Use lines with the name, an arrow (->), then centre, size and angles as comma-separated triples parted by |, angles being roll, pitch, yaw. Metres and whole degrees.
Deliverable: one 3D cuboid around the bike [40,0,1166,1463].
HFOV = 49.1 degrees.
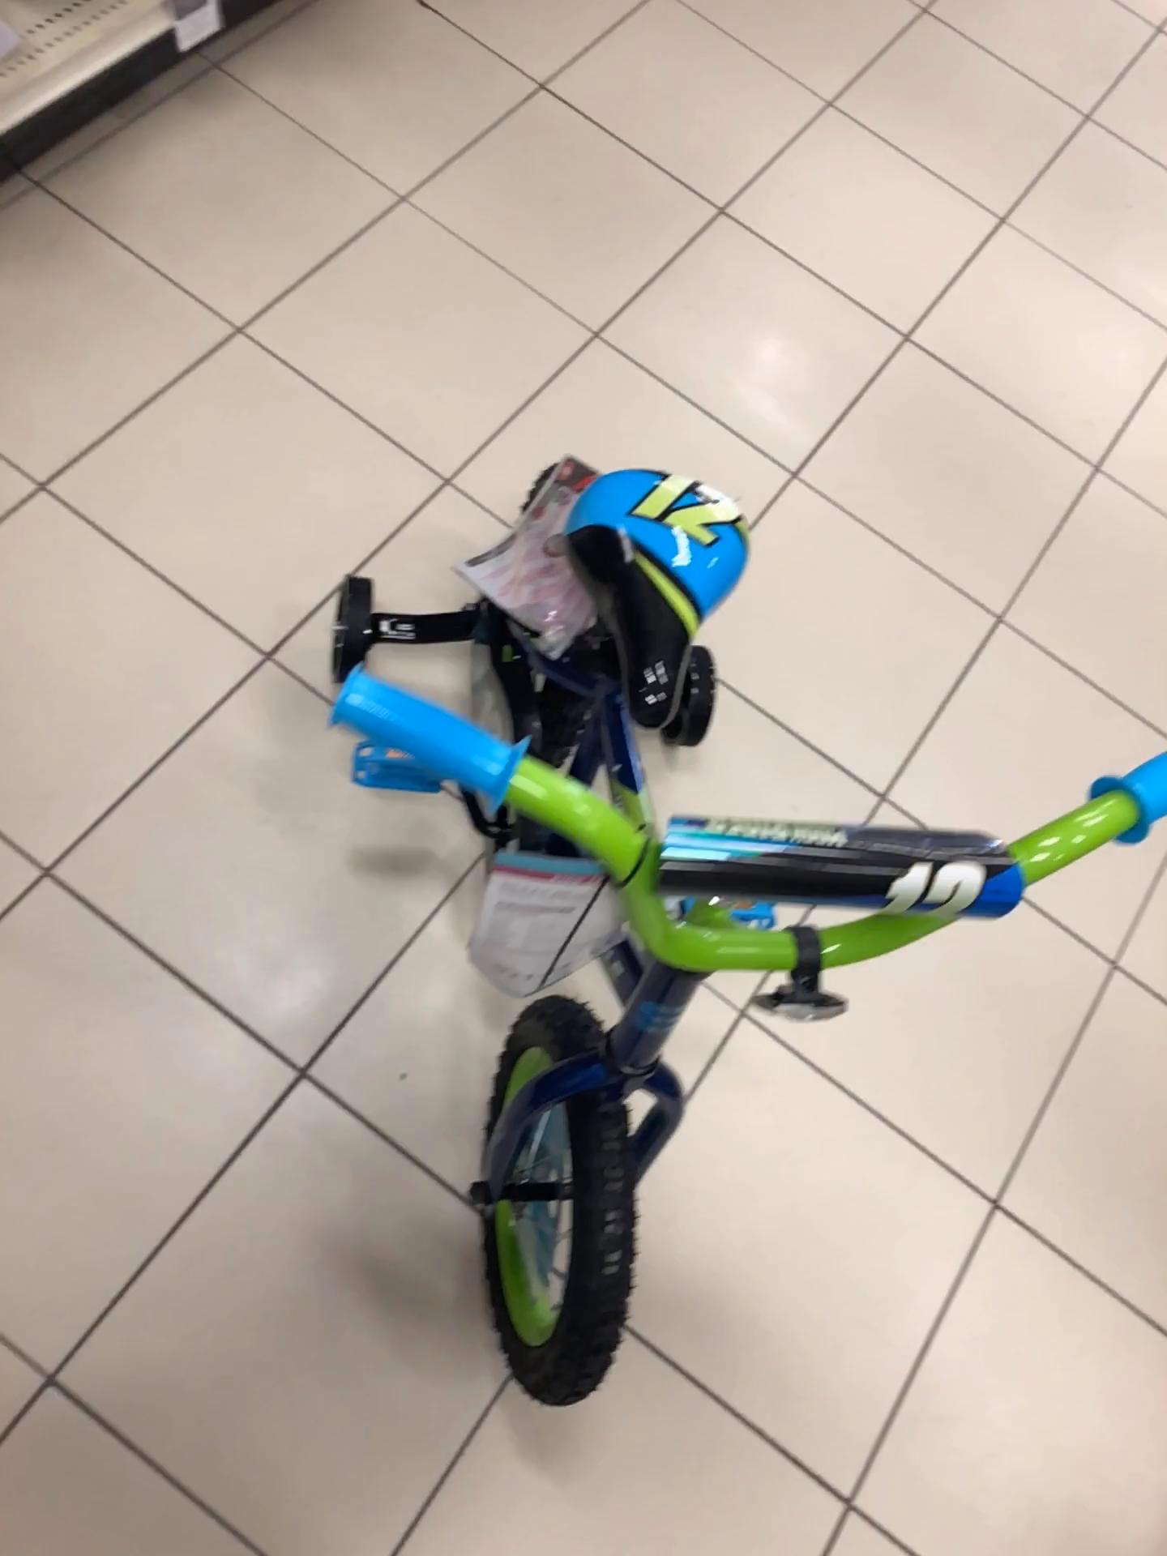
bike -> 0.023, 0.004, 0.935 | 0.548, 0.677, 0.795 | 4, 66, -11
